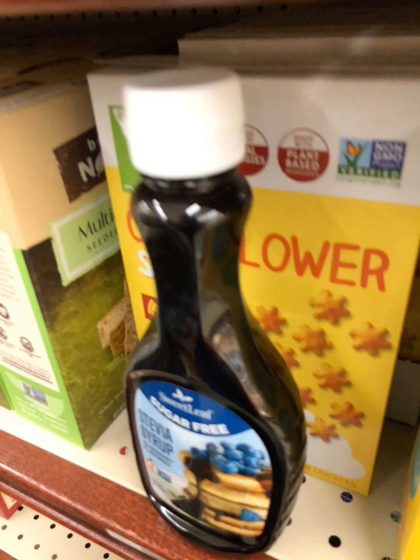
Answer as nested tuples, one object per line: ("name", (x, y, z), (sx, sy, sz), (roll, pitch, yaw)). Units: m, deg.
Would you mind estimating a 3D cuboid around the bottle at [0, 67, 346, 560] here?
("bottle", (-0.004, 0.032, 0.179), (0.080, 0.199, 0.050), (15, 39, 27))
